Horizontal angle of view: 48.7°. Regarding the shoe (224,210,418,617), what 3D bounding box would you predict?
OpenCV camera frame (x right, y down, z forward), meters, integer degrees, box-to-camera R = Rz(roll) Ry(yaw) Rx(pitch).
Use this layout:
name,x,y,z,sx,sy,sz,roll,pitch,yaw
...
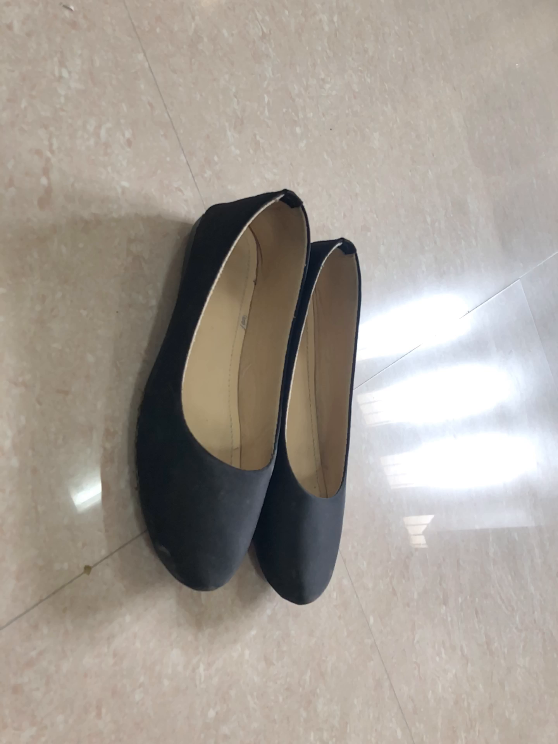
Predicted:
name,x,y,z,sx,sy,sz,roll,pitch,yaw
shoe,0.027,0.030,0.408,0.093,0.075,0.239,19,64,-44

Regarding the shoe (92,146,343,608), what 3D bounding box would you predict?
name,x,y,z,sx,sy,sz,roll,pitch,yaw
shoe,-0.025,0.005,0.358,0.093,0.075,0.239,26,59,-41
